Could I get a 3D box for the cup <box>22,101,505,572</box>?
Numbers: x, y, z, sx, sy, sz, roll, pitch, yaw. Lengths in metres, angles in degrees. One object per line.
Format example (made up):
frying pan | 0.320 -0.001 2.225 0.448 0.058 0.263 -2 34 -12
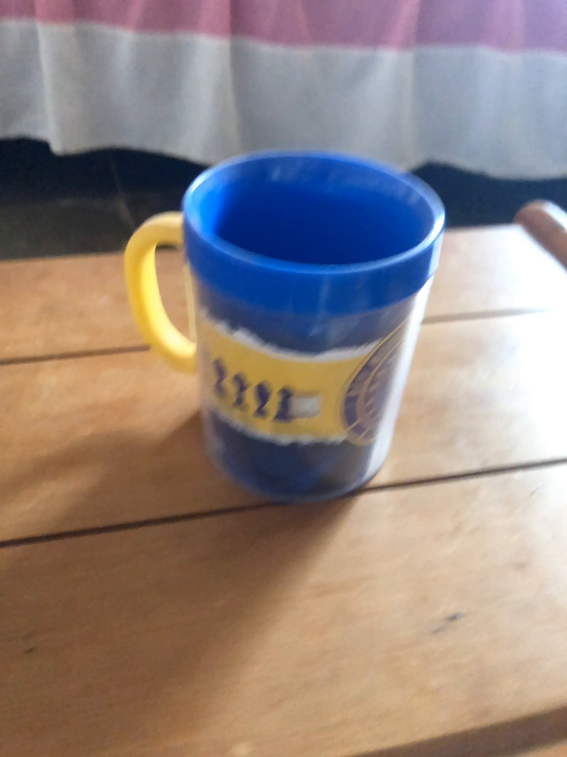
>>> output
cup | -0.002 -0.019 0.228 0.120 0.109 0.091 17 43 15
